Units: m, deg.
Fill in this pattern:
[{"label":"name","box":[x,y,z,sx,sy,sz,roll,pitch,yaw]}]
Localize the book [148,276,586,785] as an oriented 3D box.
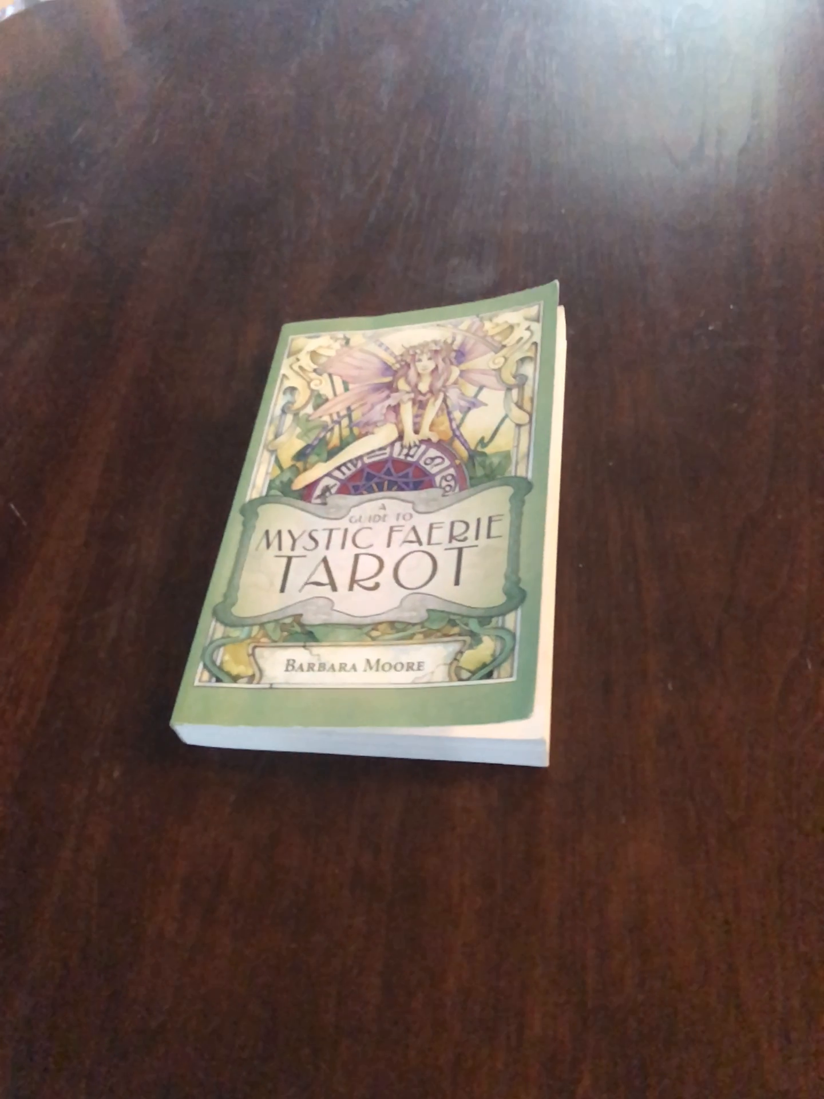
[{"label":"book","box":[-0.005,-0.018,0.359,0.139,0.032,0.208,-1,56,14]}]
